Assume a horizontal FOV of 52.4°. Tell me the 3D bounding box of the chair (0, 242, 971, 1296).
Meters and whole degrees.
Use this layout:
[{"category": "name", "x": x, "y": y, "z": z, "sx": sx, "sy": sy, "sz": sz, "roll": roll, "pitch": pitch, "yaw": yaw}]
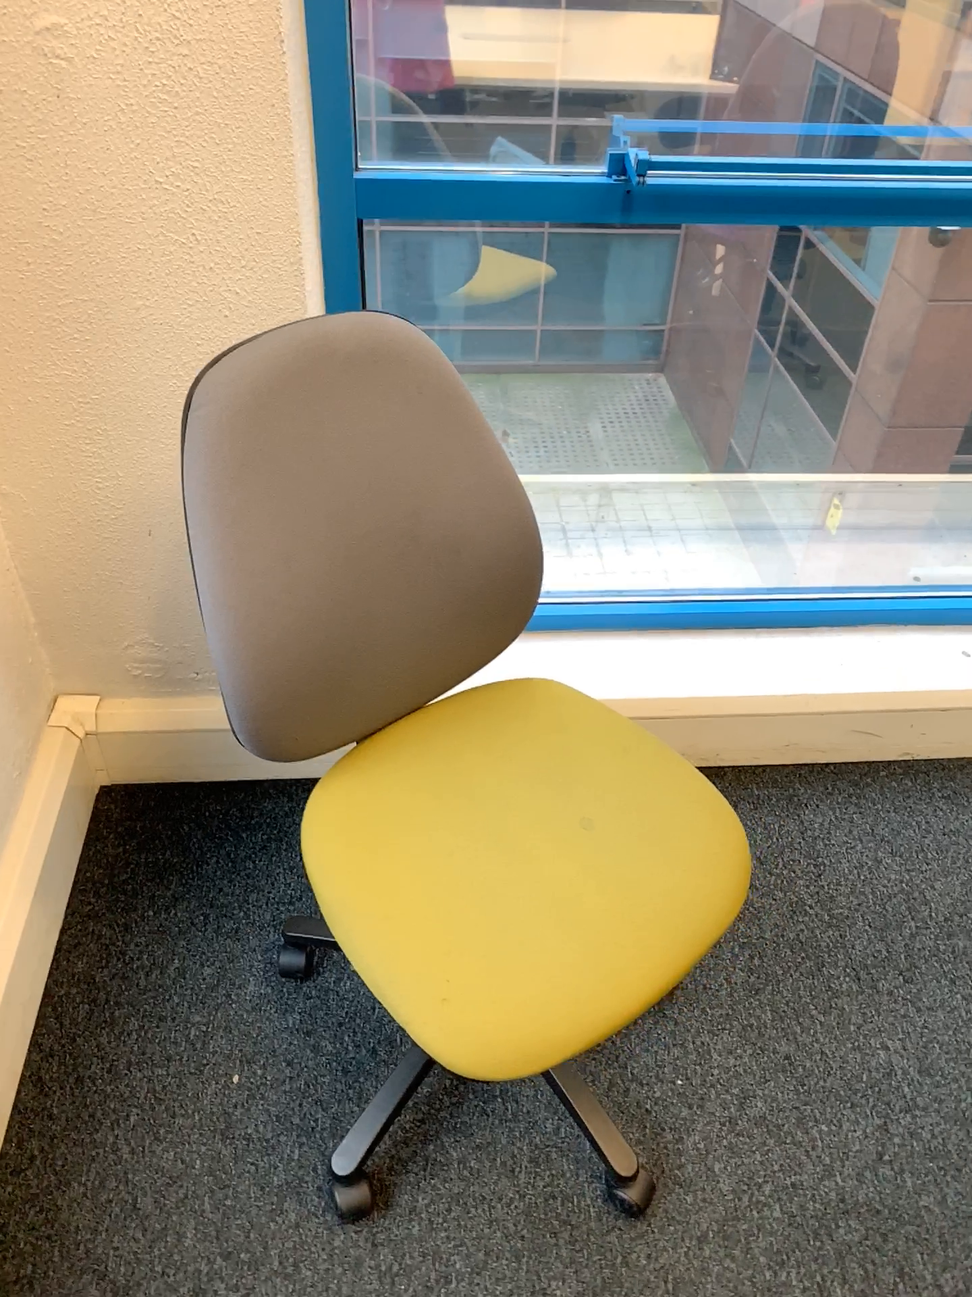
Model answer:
[{"category": "chair", "x": 0.028, "y": 0.164, "z": 1.092, "sx": 0.695, "sy": 0.876, "sz": 0.681, "roll": -28, "pitch": 49, "yaw": -31}]
